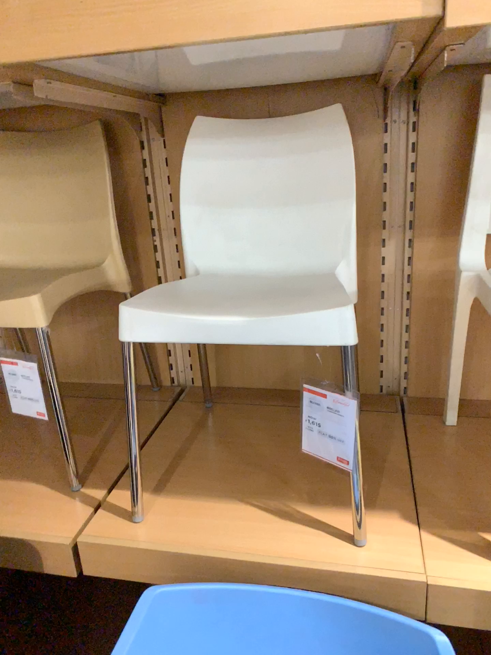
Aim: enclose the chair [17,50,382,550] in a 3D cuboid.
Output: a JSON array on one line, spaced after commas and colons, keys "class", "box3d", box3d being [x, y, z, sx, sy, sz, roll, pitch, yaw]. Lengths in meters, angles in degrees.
[{"class": "chair", "box3d": [0.000, -0.092, 1.260, 0.610, 0.917, 0.682, 0, 19, 12]}]
